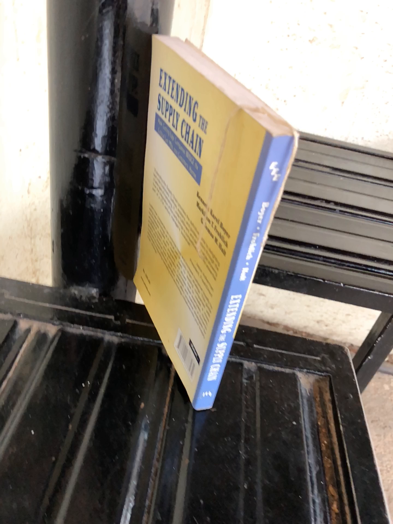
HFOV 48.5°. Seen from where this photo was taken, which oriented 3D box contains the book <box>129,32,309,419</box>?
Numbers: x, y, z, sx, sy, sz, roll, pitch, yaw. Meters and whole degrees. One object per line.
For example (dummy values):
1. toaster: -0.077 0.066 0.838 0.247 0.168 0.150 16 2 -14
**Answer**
1. book: -0.008 -0.019 0.313 0.030 0.229 0.150 -10 42 -23
